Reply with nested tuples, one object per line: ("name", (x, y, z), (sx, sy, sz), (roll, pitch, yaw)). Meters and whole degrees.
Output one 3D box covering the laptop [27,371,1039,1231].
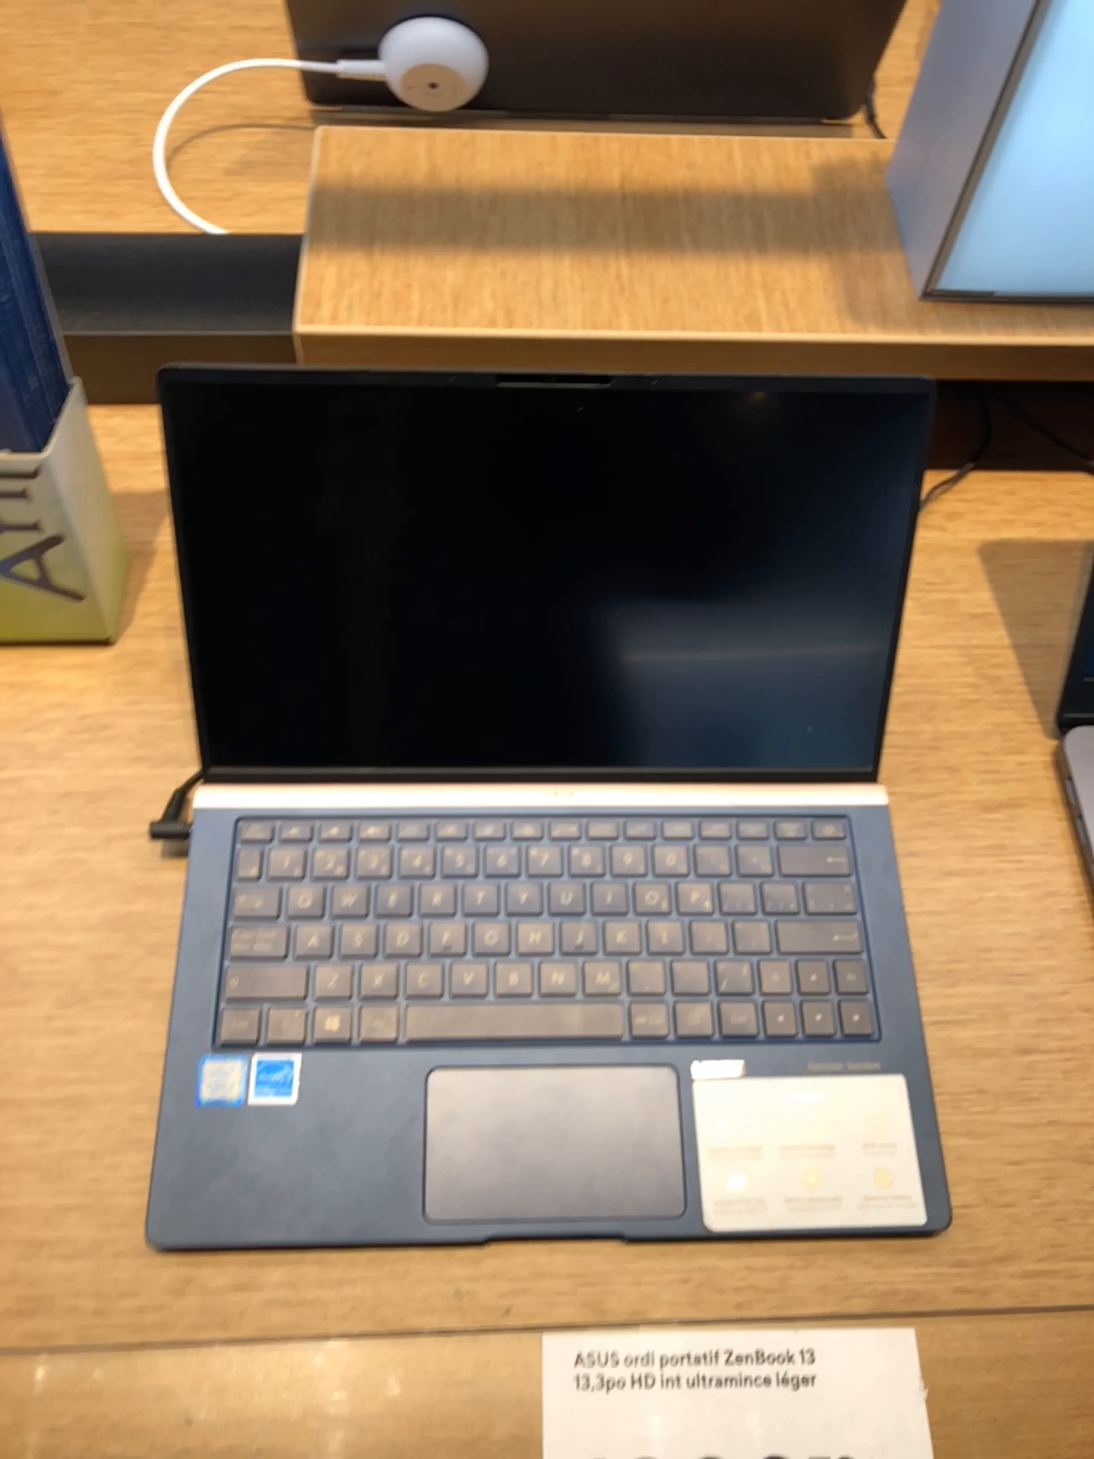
("laptop", (-0.002, 0.024, 0.446), (0.276, 0.130, 0.276), (0, 64, -1))
